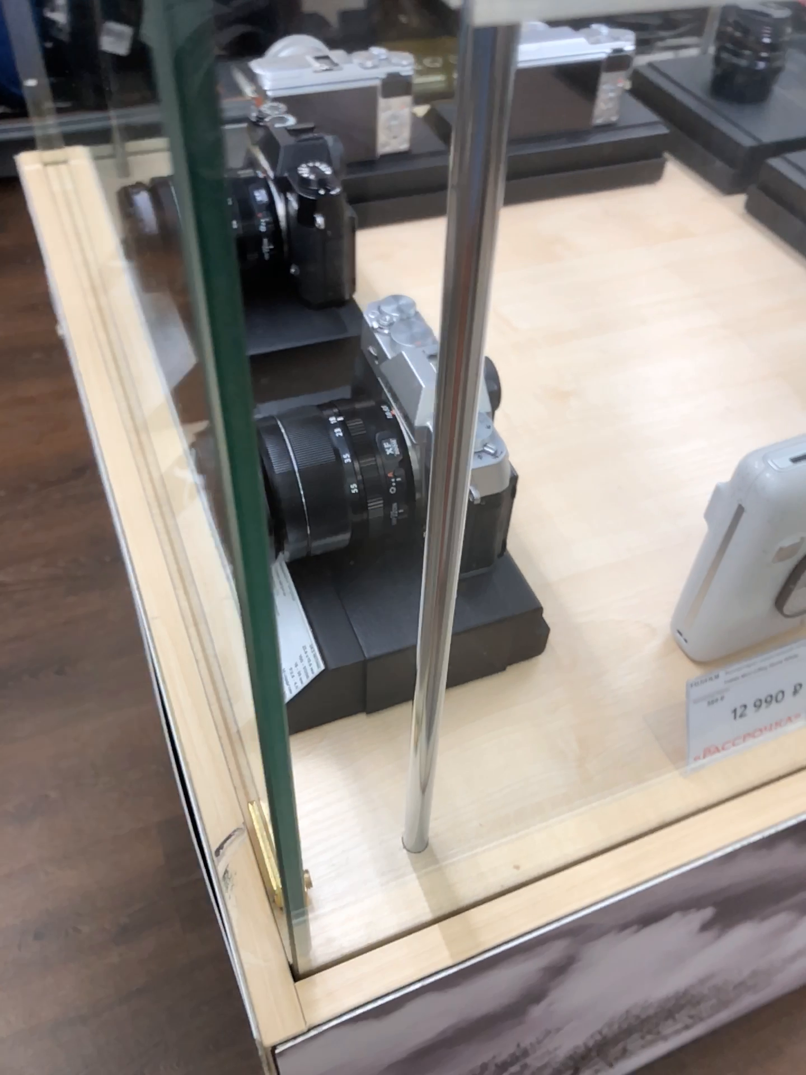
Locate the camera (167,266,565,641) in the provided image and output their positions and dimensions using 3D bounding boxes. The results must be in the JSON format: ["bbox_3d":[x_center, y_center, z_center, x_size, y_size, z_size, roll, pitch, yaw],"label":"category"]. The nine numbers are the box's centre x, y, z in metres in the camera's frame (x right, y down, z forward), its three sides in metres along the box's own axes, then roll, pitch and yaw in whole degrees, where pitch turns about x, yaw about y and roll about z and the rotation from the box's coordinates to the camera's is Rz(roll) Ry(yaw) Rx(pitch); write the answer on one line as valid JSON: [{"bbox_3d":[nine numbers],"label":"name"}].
[{"bbox_3d":[-0.022,-0.042,0.392,0.130,0.080,0.124,-13,50,-15],"label":"camera"}]

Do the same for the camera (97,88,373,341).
[{"bbox_3d":[-0.100,-0.196,0.533,0.130,0.080,0.124,-13,50,-15],"label":"camera"}]

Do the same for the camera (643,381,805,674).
[{"bbox_3d":[0.168,-0.002,0.387,0.094,0.110,0.039,-16,51,-18],"label":"camera"}]
